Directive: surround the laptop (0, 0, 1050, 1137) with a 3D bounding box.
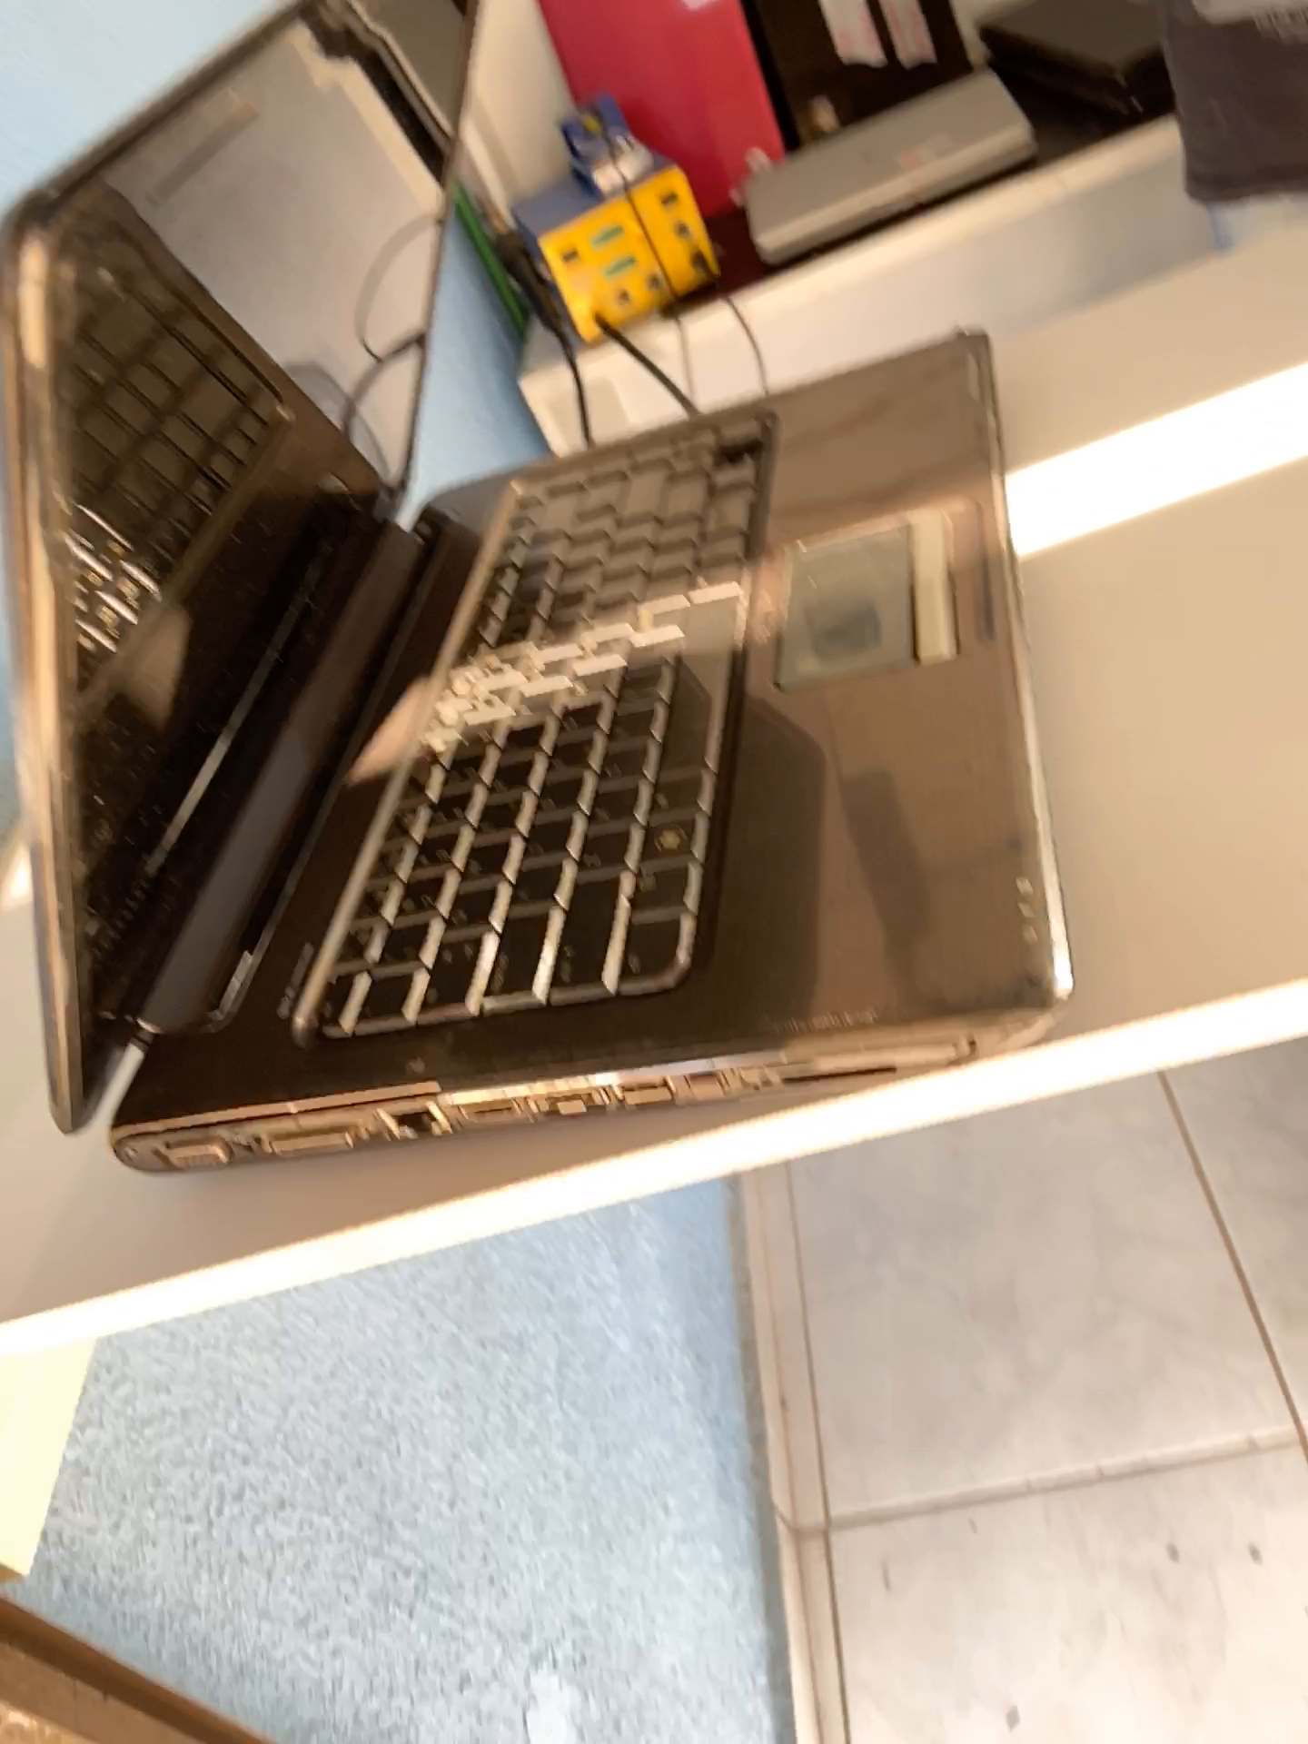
[{"bbox_3d":[-0.049,-0.137,0.383,0.244,0.190,0.346,-12,40,20],"label":"laptop"}]
